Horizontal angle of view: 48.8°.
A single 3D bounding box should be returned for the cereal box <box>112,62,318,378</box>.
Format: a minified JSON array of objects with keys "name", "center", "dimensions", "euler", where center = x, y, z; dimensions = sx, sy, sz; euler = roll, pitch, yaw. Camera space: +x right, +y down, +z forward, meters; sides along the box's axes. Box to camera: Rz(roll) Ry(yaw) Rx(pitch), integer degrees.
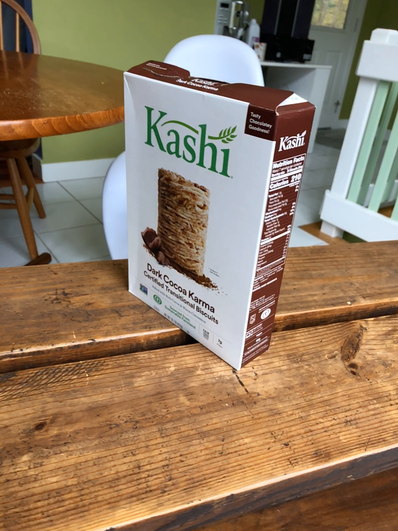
[{"name":"cereal box","center":[-0.003,-0.050,0.470],"dimensions":[0.200,0.278,0.060],"euler":[30,40,35]}]
